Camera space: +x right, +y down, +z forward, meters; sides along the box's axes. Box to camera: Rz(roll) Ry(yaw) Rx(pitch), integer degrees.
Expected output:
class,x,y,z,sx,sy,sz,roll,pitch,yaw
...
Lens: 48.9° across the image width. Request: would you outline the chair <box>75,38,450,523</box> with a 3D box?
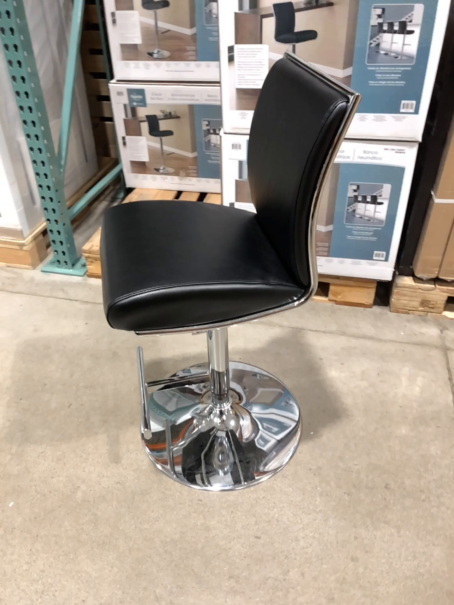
class,x,y,z,sx,sy,sz,roll,pitch,yaw
chair,0.009,-0.040,1.186,0.540,0.946,0.532,-9,38,-11
